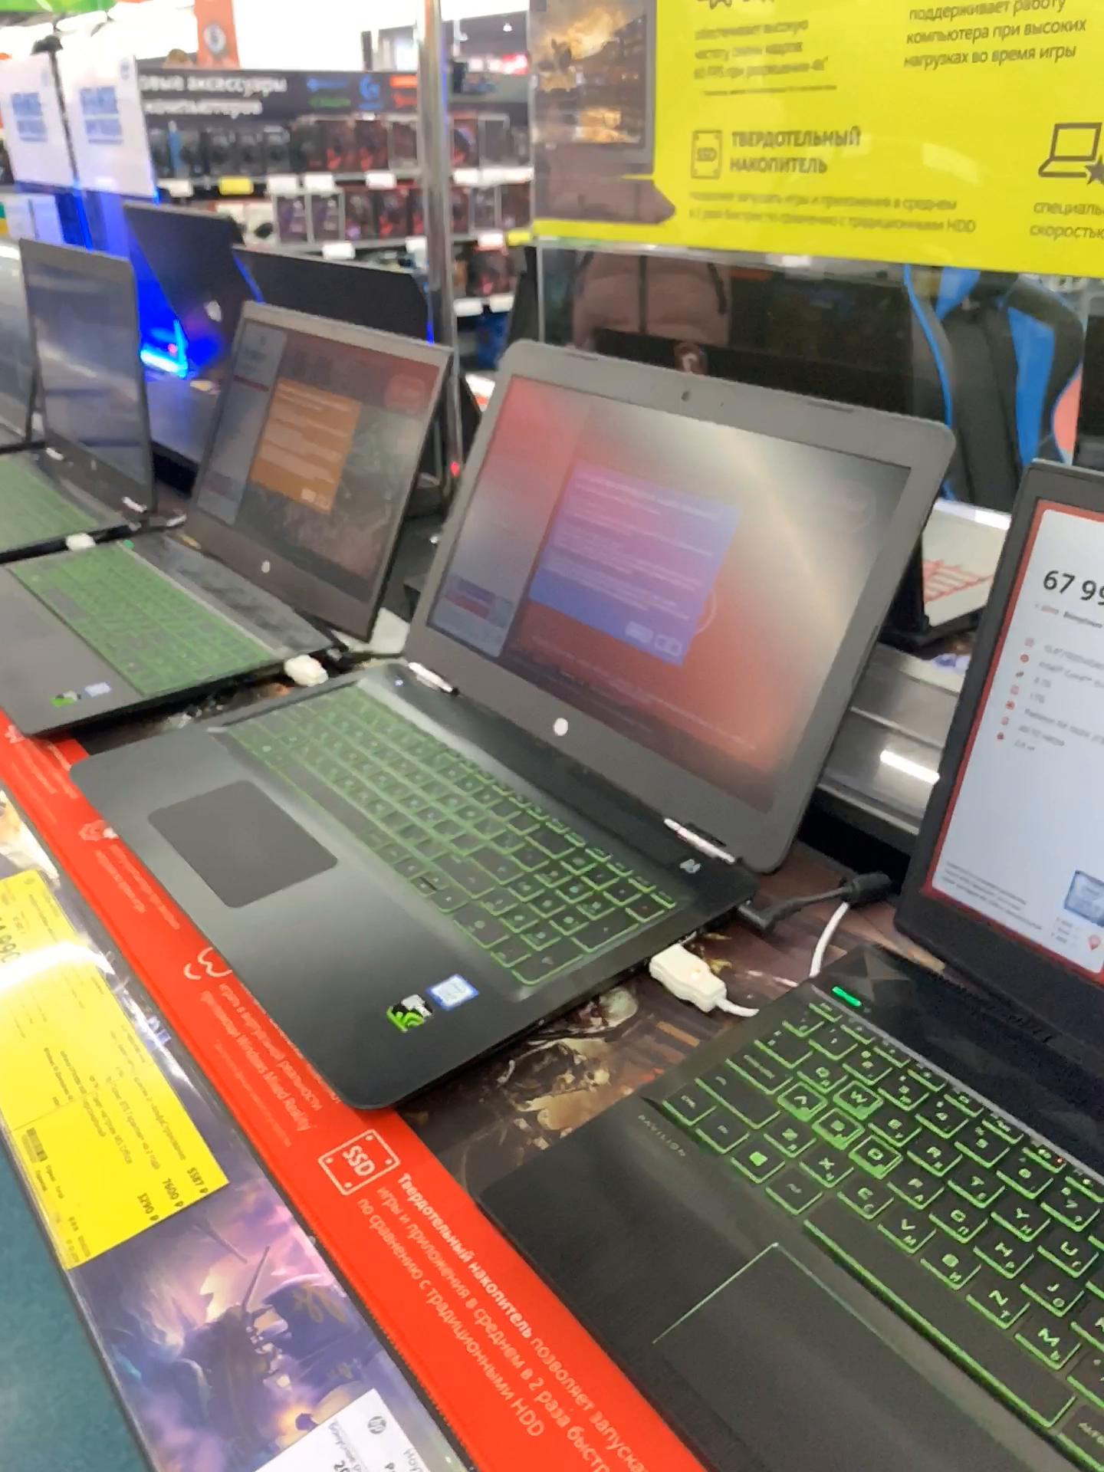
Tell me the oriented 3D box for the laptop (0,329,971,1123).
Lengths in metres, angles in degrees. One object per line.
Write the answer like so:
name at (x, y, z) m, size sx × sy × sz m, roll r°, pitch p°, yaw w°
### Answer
laptop at (-0.052, -0.071, 0.663) m, size 0.379 × 0.223 × 0.386 m, roll -22°, pitch 34°, yaw -32°
